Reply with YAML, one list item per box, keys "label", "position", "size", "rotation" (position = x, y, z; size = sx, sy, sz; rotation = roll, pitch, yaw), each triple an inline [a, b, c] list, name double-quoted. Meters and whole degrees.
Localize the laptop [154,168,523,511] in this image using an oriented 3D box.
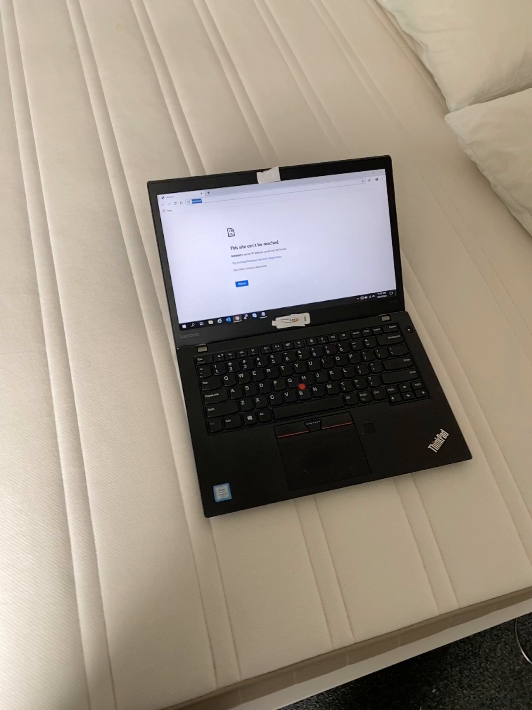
- label: "laptop"
  position: [0.056, -0.044, 0.667]
  size: [0.320, 0.120, 0.382]
  rotation: [-9, 59, -12]
